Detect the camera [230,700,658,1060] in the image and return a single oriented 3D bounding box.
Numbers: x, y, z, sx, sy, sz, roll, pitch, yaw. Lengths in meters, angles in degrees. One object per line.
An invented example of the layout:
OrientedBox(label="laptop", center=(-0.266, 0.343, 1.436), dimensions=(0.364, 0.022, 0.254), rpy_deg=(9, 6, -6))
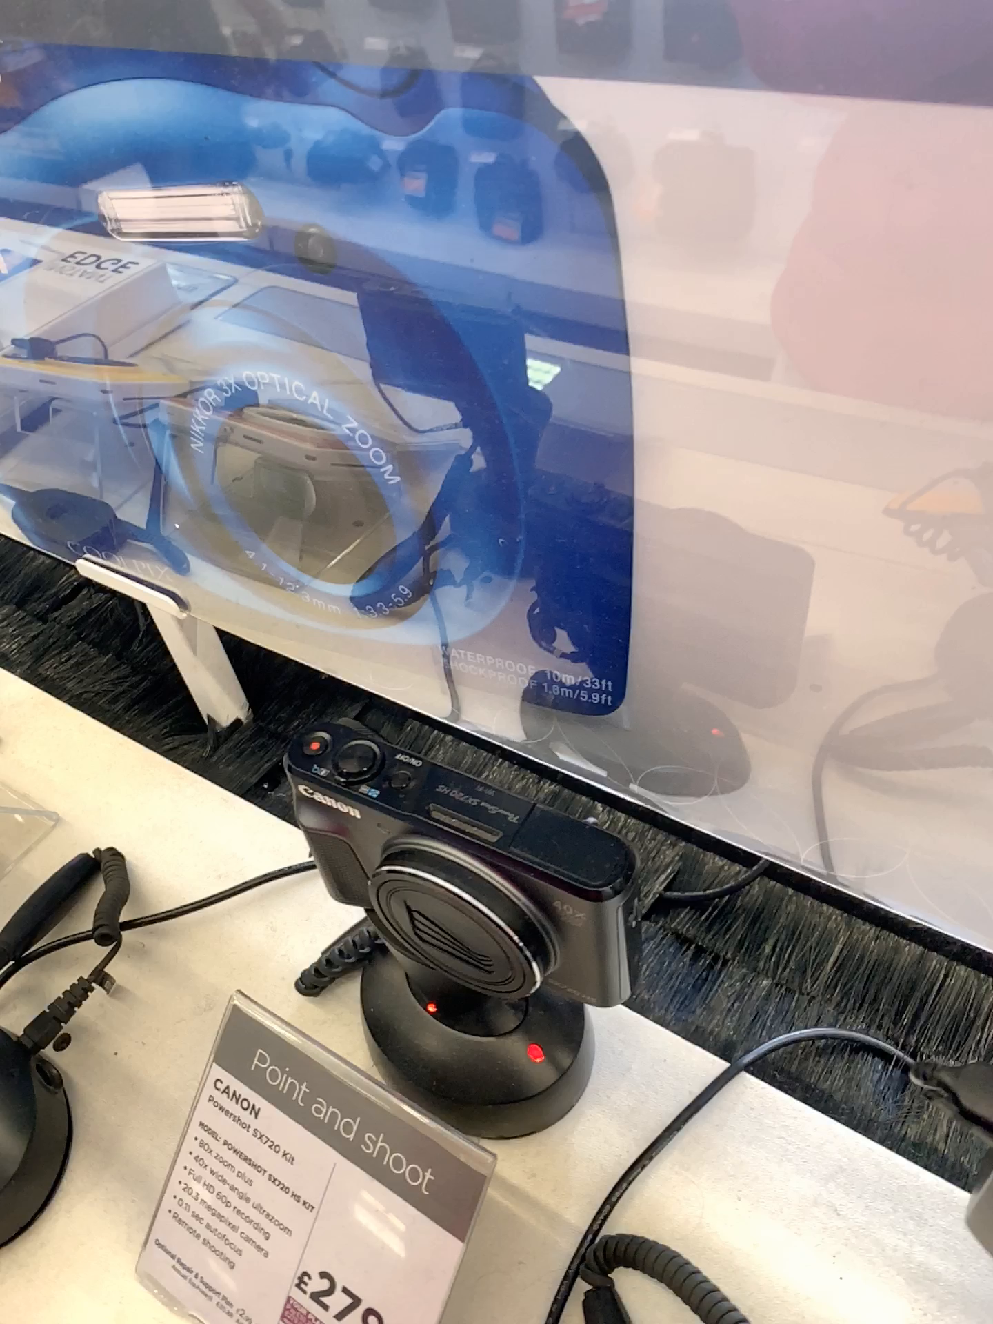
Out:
OrientedBox(label="camera", center=(-0.013, 0.059, 0.285), dimensions=(0.113, 0.061, 0.031), rpy_deg=(19, 52, 26))
